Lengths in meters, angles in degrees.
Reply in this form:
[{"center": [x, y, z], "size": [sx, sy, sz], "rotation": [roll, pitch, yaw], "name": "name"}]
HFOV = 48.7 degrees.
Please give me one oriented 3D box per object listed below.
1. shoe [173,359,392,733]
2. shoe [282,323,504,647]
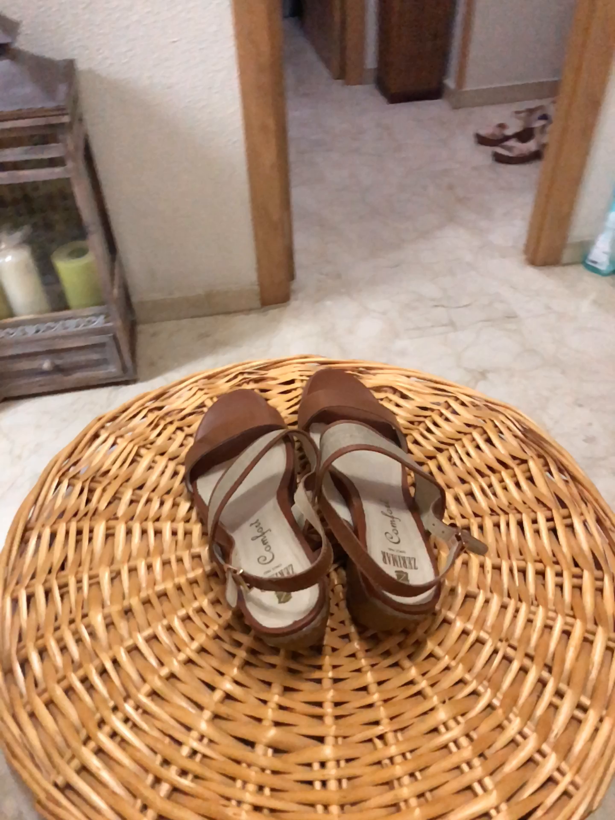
[{"center": [-0.031, 0.085, 0.528], "size": [0.090, 0.090, 0.271], "rotation": [-13, 44, -11], "name": "shoe"}, {"center": [0.050, 0.044, 0.538], "size": [0.100, 0.070, 0.271], "rotation": [5, 42, -14], "name": "shoe"}]
